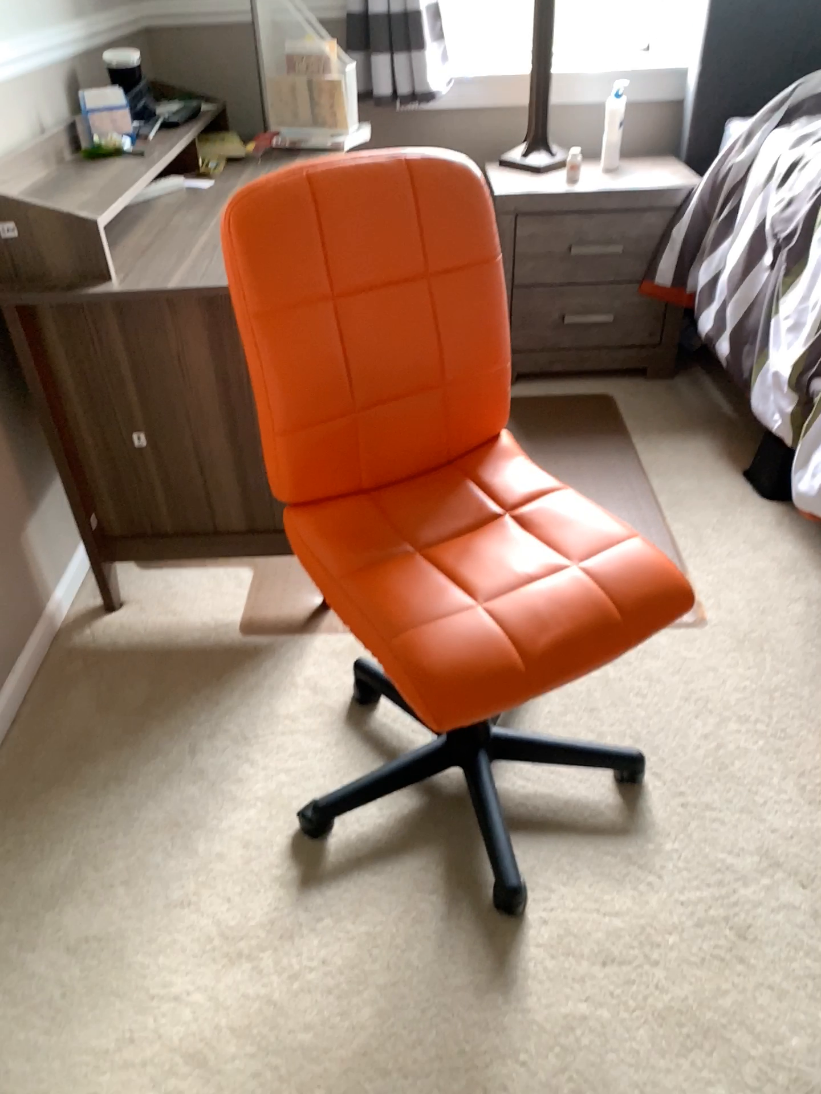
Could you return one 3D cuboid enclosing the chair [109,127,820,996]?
[{"bbox_3d":[0.070,-0.022,1.190,0.615,0.901,0.620,-21,40,-25],"label":"chair"}]
